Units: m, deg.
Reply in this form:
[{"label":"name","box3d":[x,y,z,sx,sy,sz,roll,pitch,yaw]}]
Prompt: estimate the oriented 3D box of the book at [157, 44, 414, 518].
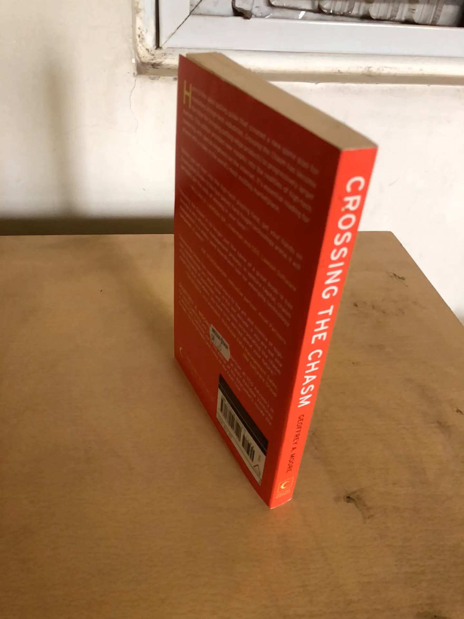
[{"label":"book","box3d":[0.003,-0.016,0.277,0.030,0.199,0.161,-14,42,-23]}]
